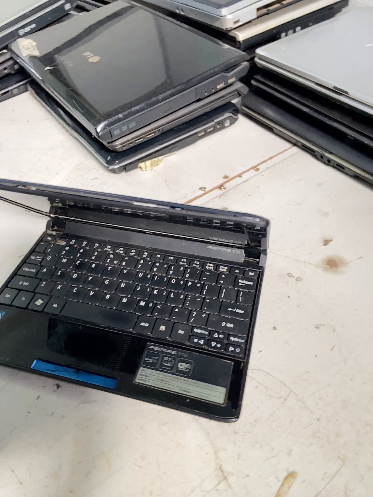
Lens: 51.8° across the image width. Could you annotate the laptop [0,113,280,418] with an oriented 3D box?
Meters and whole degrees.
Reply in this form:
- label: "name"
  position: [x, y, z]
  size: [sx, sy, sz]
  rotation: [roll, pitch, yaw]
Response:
- label: "laptop"
  position: [-0.064, 0.000, 0.316]
  size: [0.244, 0.131, 0.172]
  rotation: [9, 48, 13]
